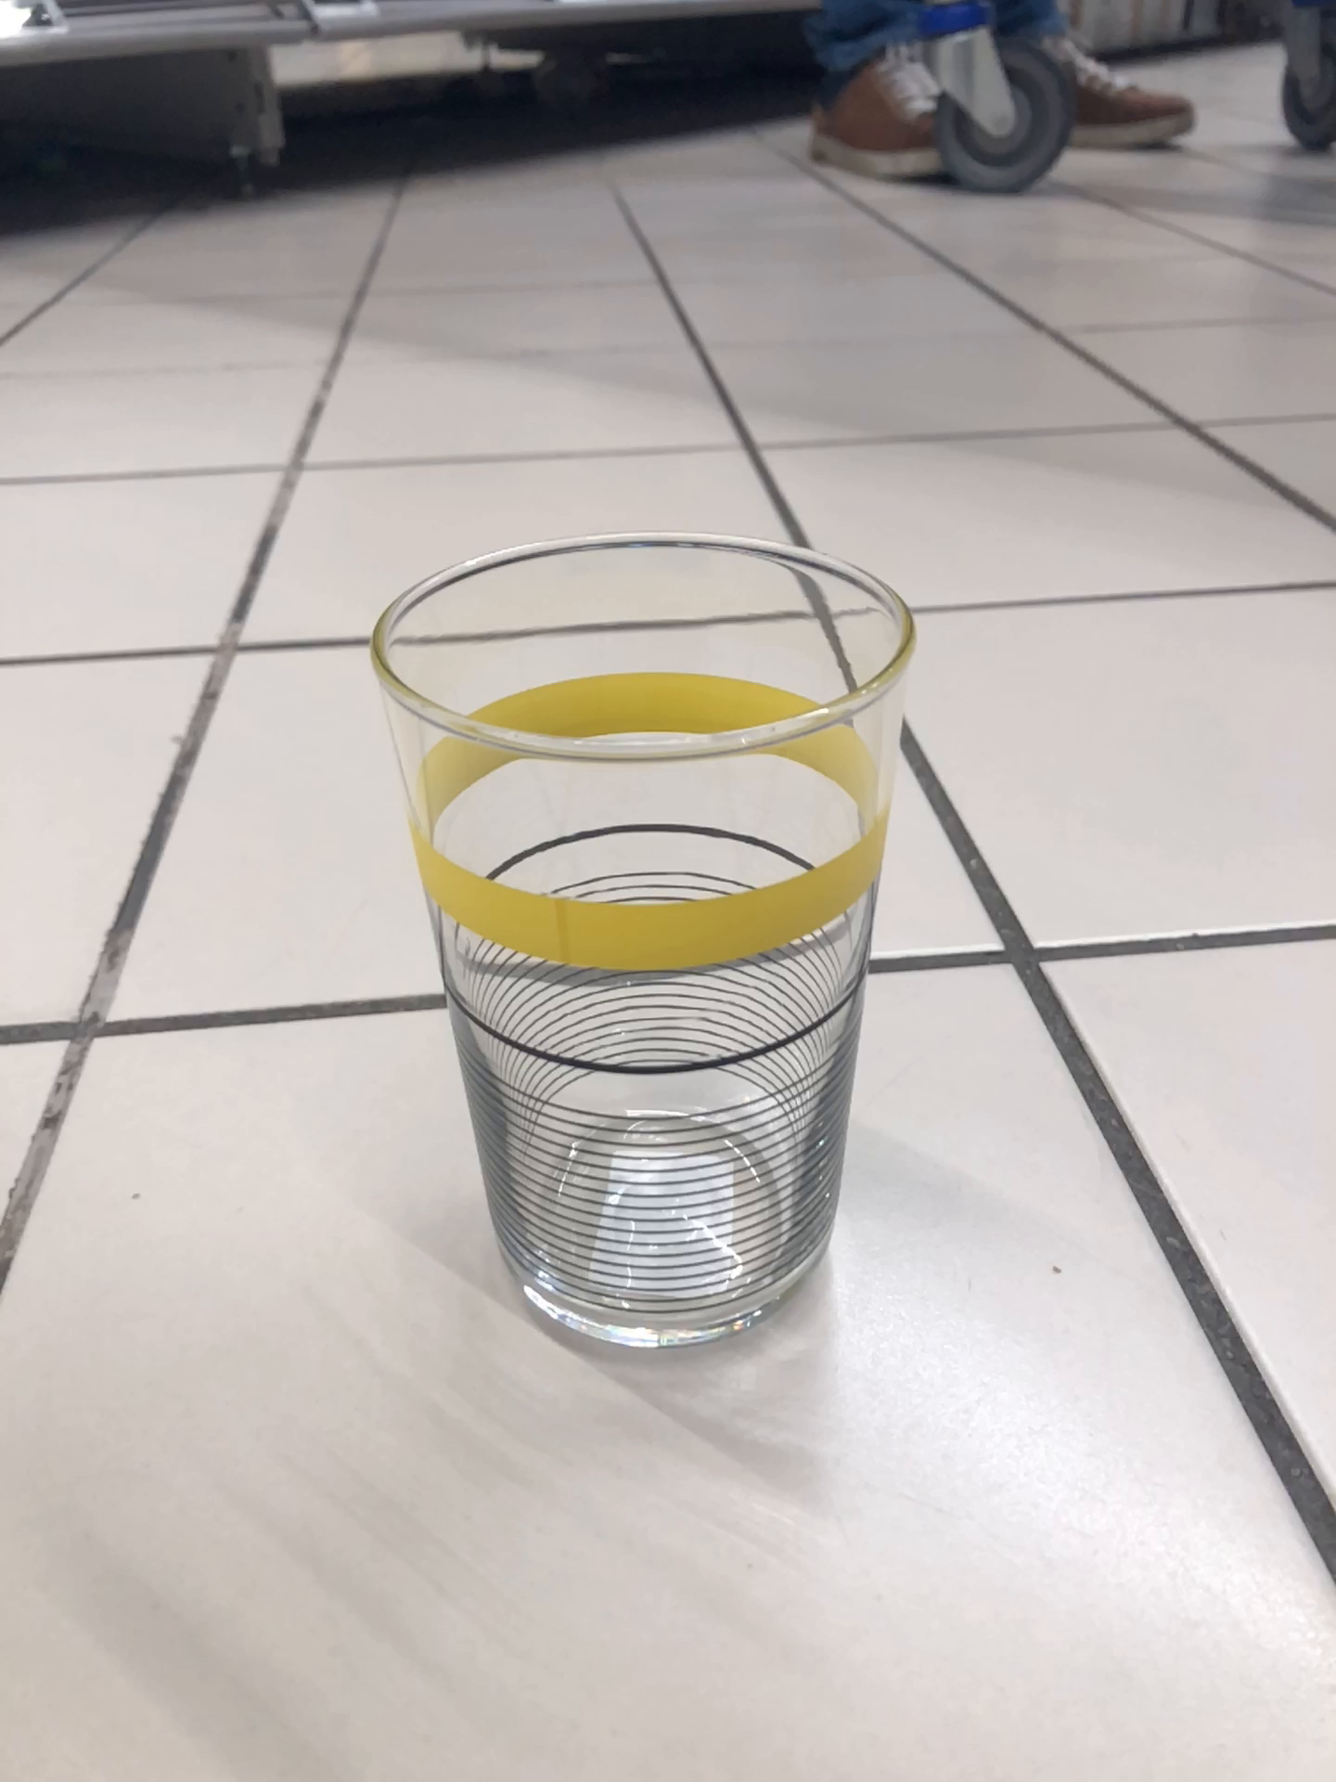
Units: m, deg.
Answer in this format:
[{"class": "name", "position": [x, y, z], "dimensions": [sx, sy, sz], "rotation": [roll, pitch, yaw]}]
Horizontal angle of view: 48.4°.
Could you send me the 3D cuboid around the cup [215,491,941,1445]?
[{"class": "cup", "position": [-0.005, 0.009, 0.232], "dimensions": [0.076, 0.114, 0.080], "rotation": [-1, 34, 1]}]
